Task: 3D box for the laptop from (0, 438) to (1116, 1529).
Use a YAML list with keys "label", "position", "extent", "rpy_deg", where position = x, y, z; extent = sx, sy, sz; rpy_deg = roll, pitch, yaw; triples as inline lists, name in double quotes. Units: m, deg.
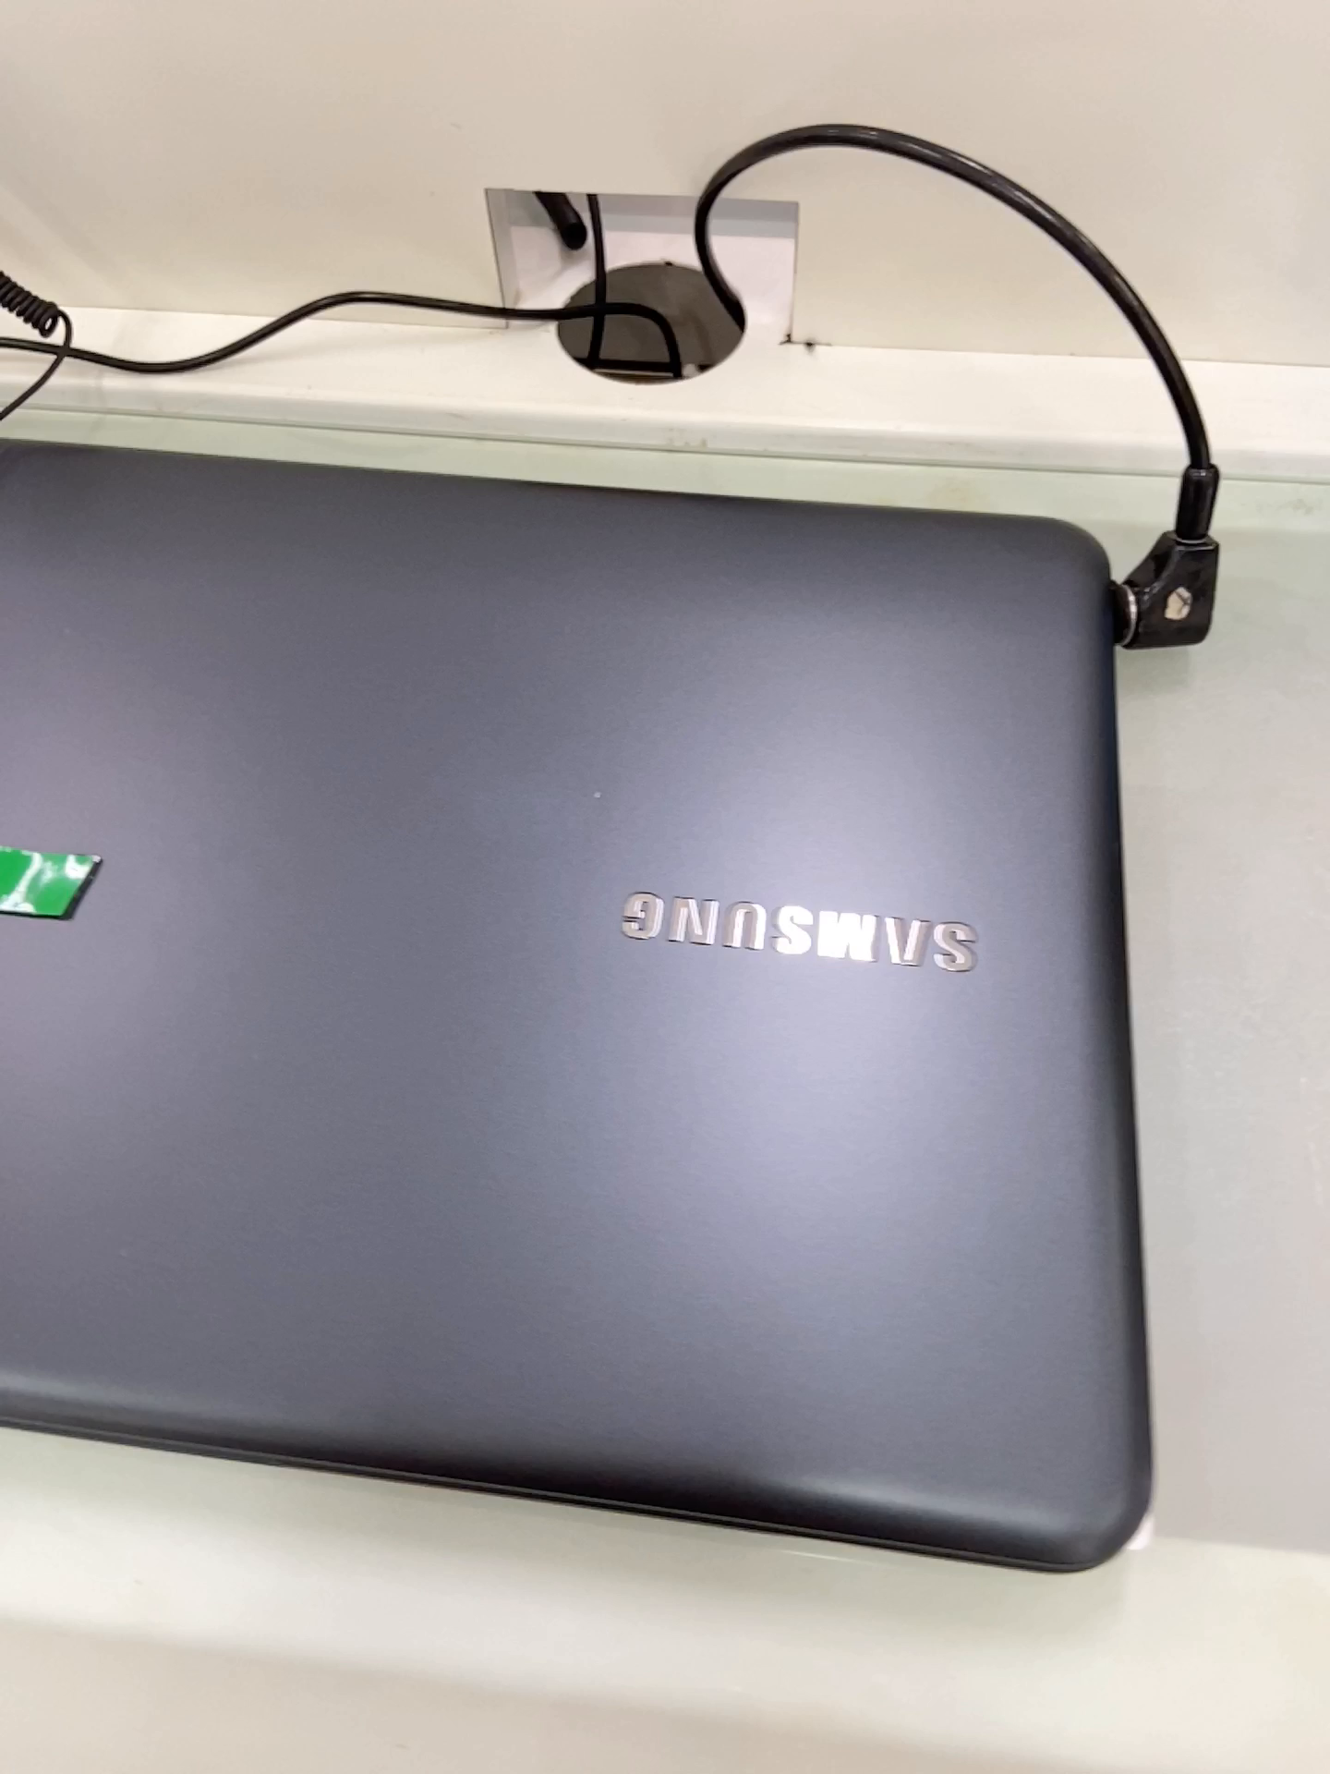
- label: "laptop"
  position: [-0.083, -0.008, 0.305]
  extent: [0.350, 0.001, 0.233]
  rpy_deg: [6, 59, 5]
